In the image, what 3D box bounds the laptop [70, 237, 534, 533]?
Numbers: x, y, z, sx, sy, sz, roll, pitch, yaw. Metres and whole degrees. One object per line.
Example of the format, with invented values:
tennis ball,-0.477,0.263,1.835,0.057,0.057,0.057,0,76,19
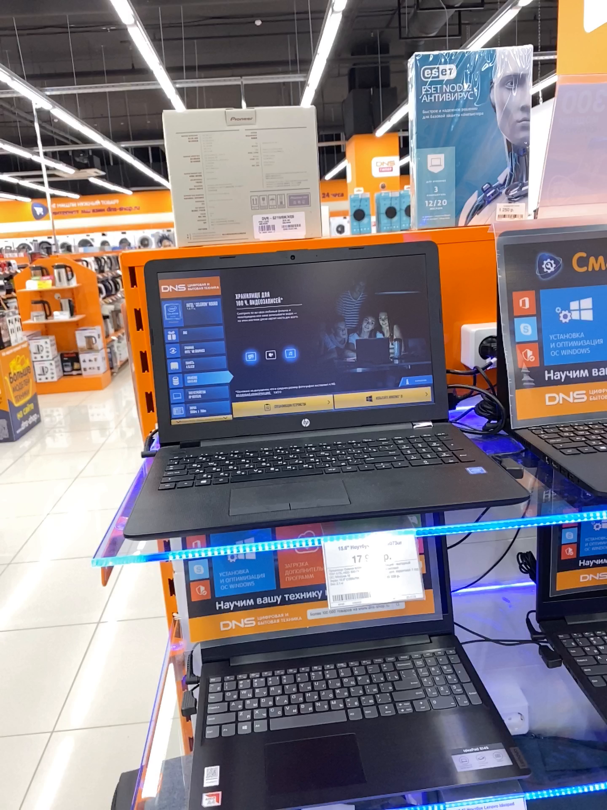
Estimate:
laptop,-0.007,-0.052,0.699,0.388,0.236,0.323,-4,14,-3
